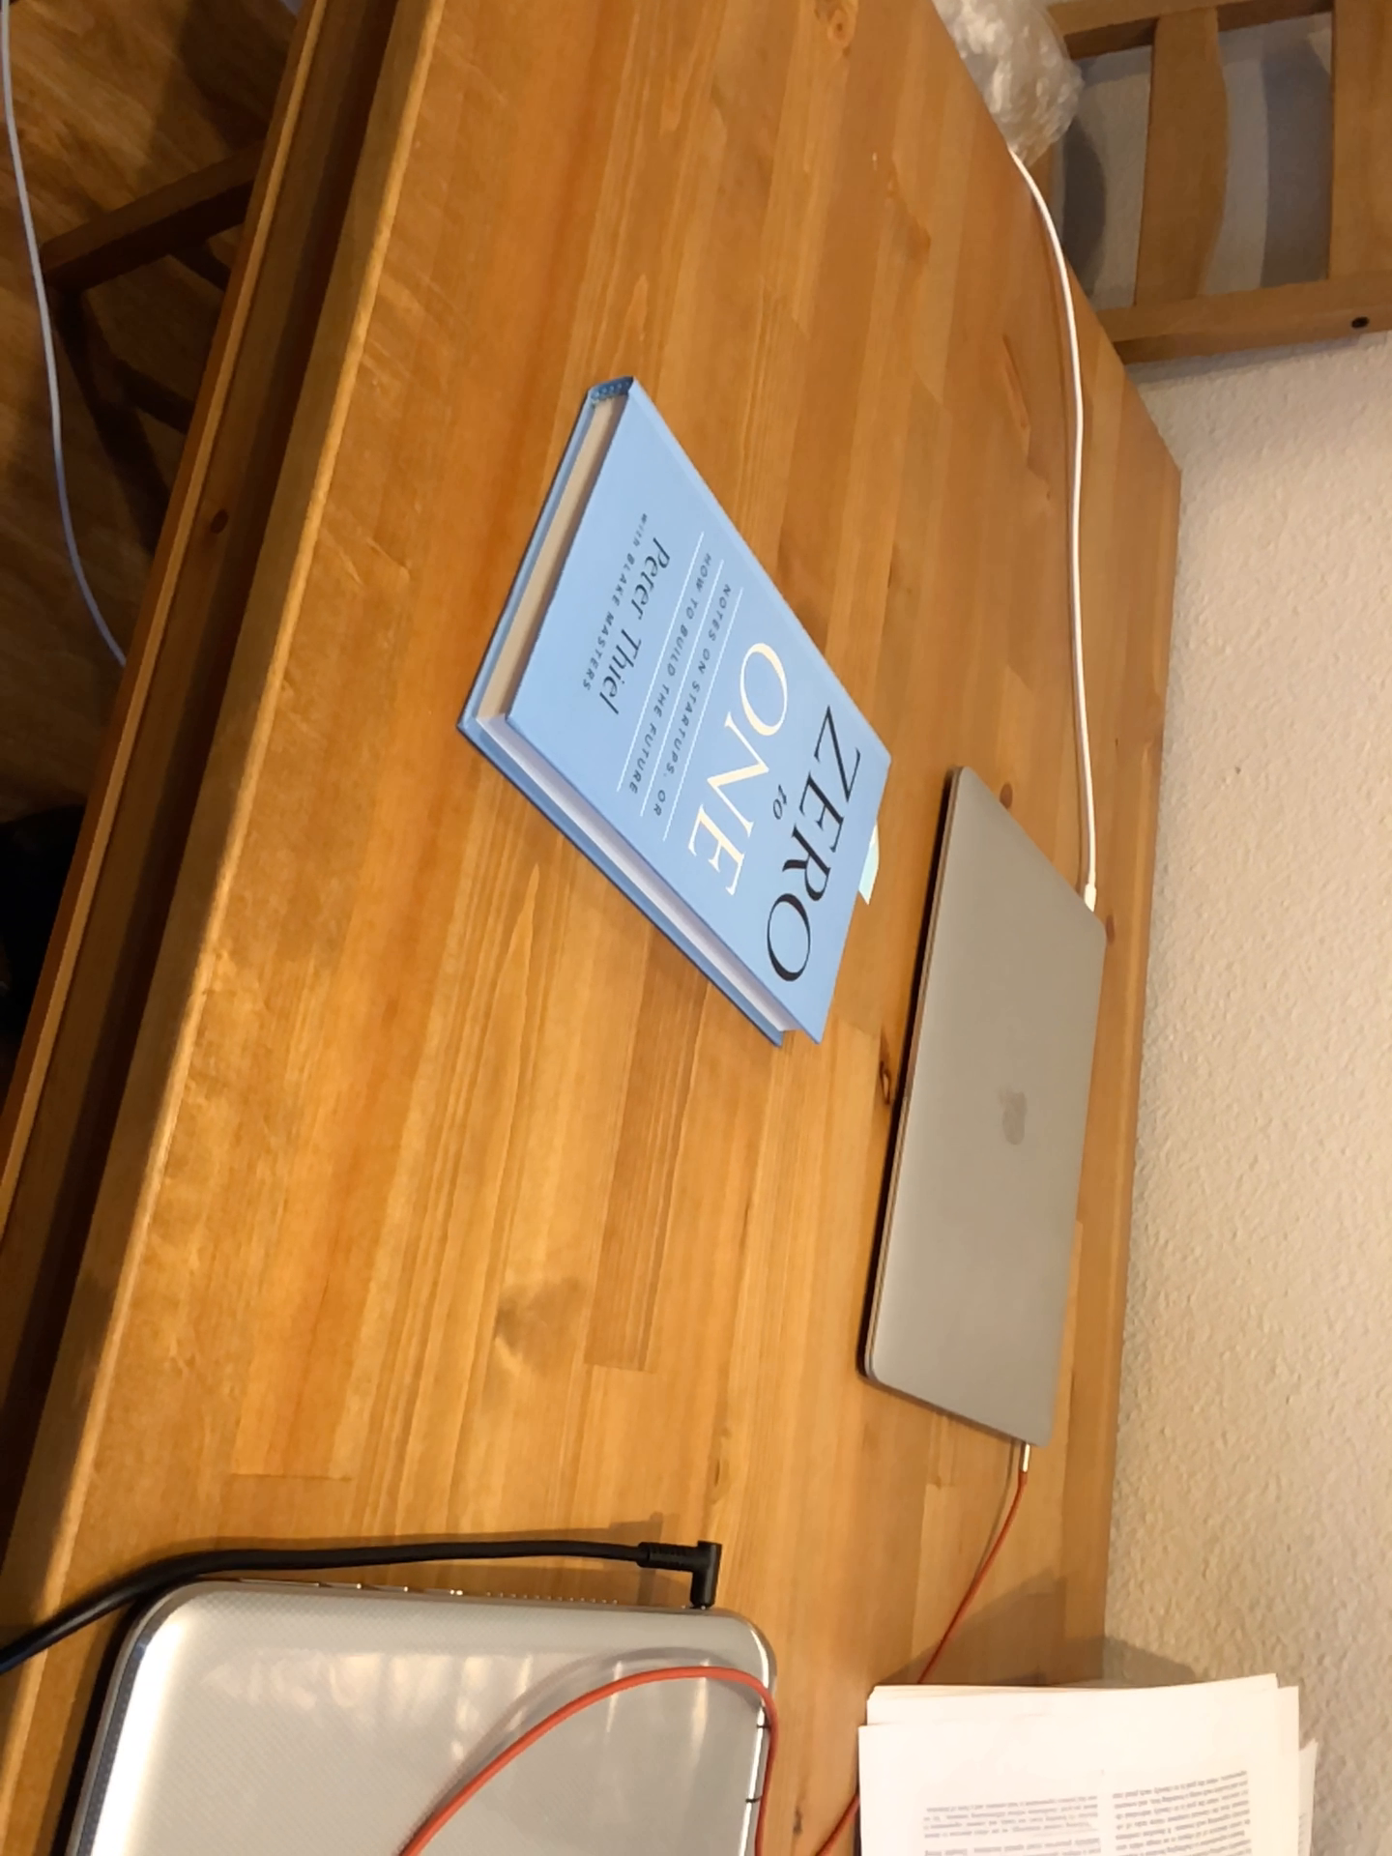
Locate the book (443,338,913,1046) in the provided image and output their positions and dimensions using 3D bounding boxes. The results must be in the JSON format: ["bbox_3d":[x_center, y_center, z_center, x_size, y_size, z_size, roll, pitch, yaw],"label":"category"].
[{"bbox_3d":[0.009,-0.072,0.549,0.211,0.030,0.150,46,51,-46],"label":"book"}]
